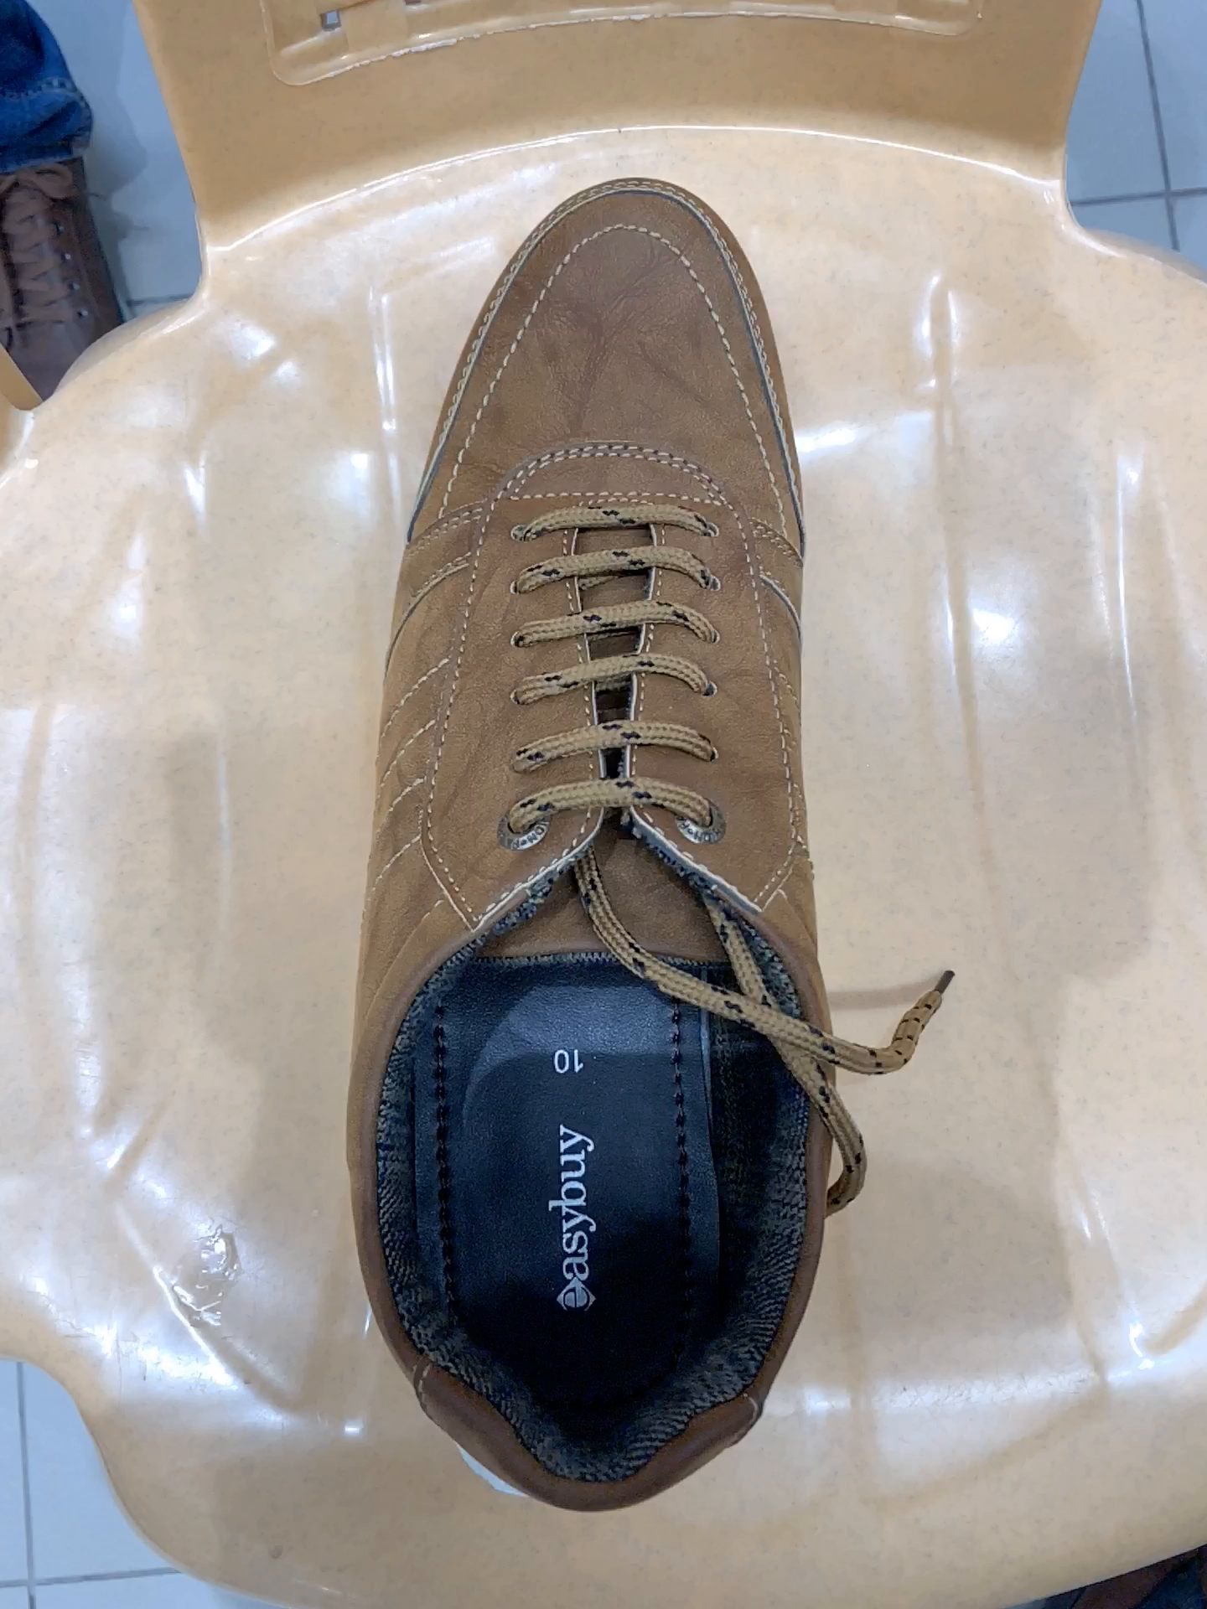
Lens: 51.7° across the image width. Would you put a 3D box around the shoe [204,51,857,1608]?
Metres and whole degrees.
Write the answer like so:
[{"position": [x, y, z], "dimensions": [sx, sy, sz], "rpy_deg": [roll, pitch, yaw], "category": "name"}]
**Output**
[{"position": [-0.004, -0.007, 0.284], "dimensions": [0.100, 0.100, 0.310], "rpy_deg": [1, 72, 3], "category": "shoe"}]
